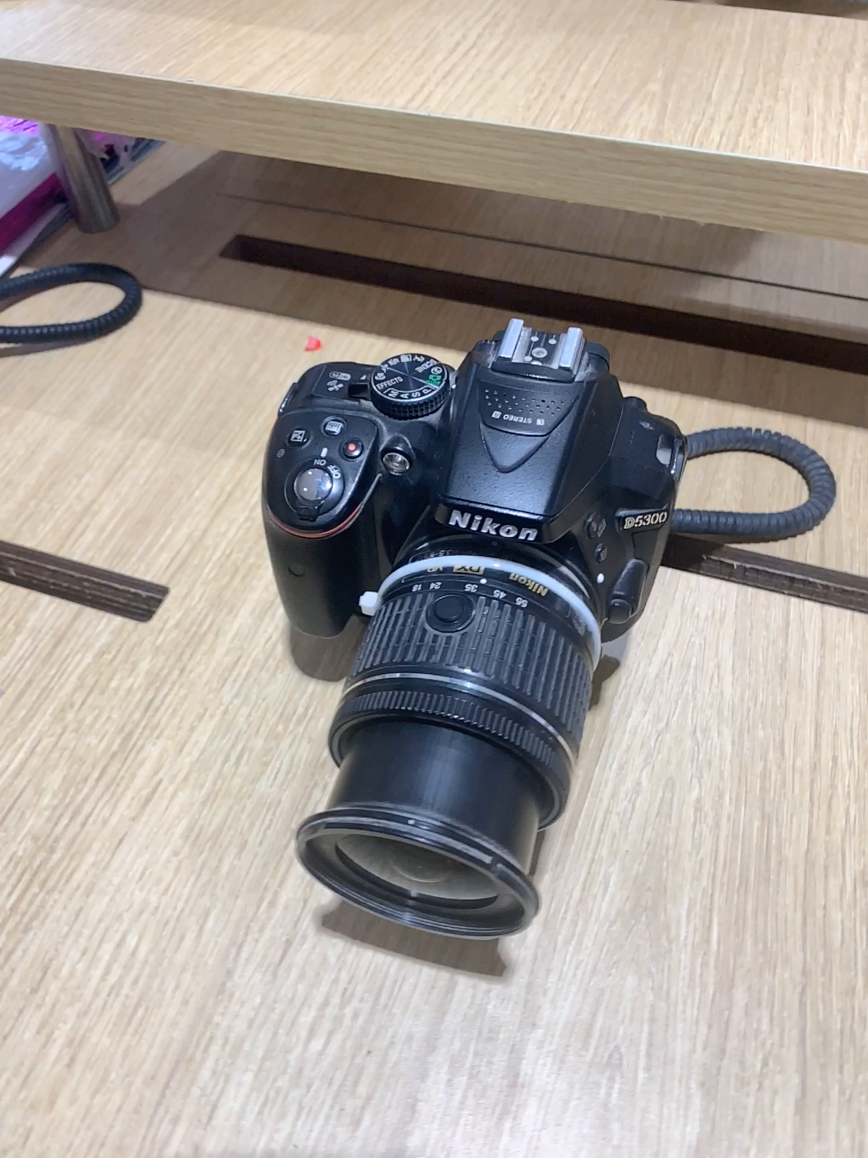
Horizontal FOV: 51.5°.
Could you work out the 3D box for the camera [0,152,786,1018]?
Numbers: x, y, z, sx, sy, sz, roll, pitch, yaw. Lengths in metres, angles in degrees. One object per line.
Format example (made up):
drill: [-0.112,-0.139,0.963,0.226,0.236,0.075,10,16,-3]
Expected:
camera: [0.005,-0.014,0.276,0.160,0.120,0.211,11,52,11]
